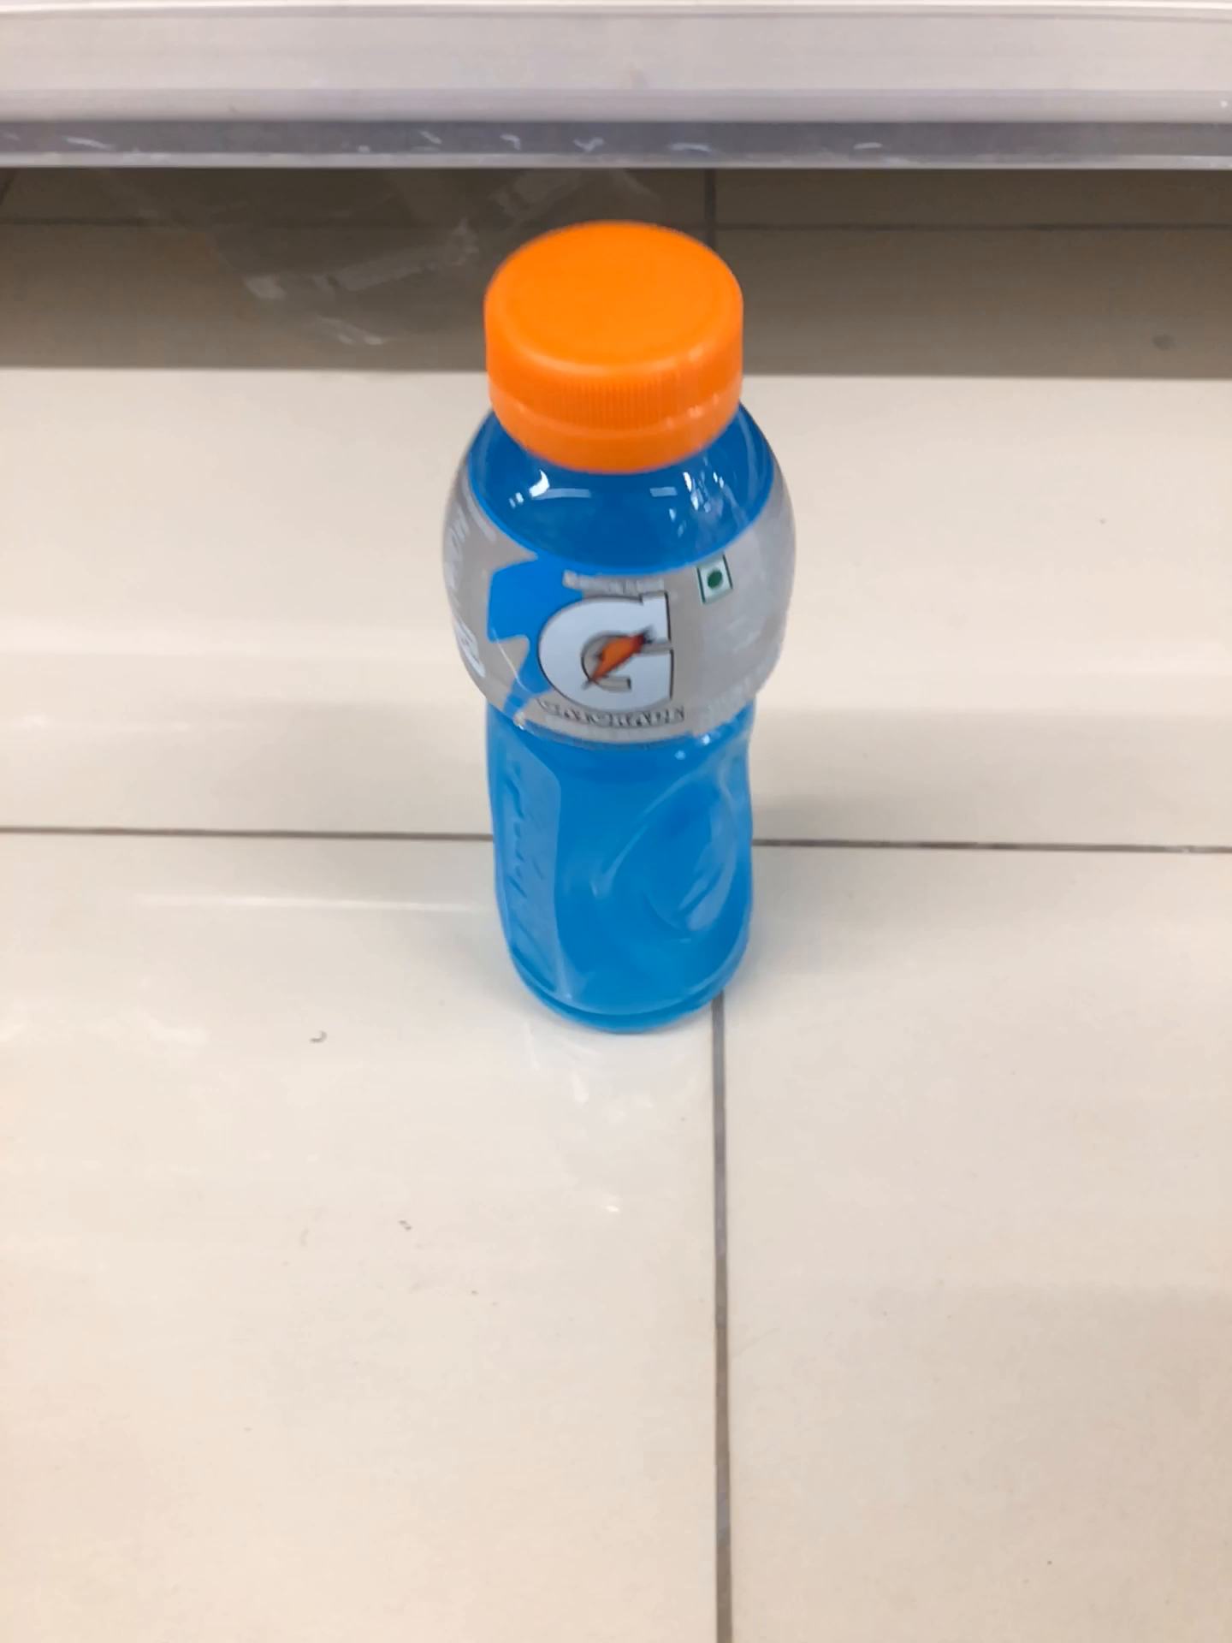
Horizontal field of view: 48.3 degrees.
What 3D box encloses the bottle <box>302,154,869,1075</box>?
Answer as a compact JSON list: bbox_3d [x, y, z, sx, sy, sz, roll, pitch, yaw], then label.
[{"bbox_3d":[0.000,-0.025,0.286,0.070,0.189,0.070,-1,56,1],"label":"bottle"}]
